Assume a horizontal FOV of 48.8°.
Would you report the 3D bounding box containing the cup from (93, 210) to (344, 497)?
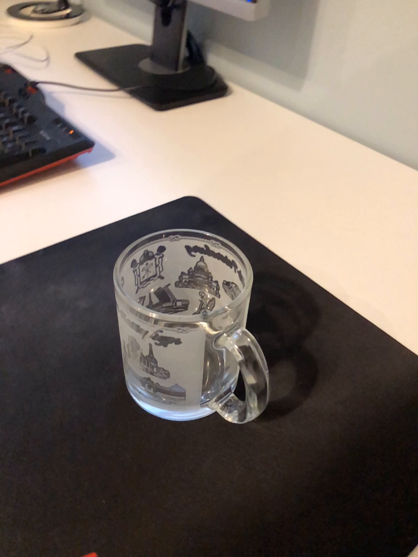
[{"bbox_3d":[0.000,0.042,0.296,0.090,0.106,0.117,-26,49,-28],"label":"cup"}]
